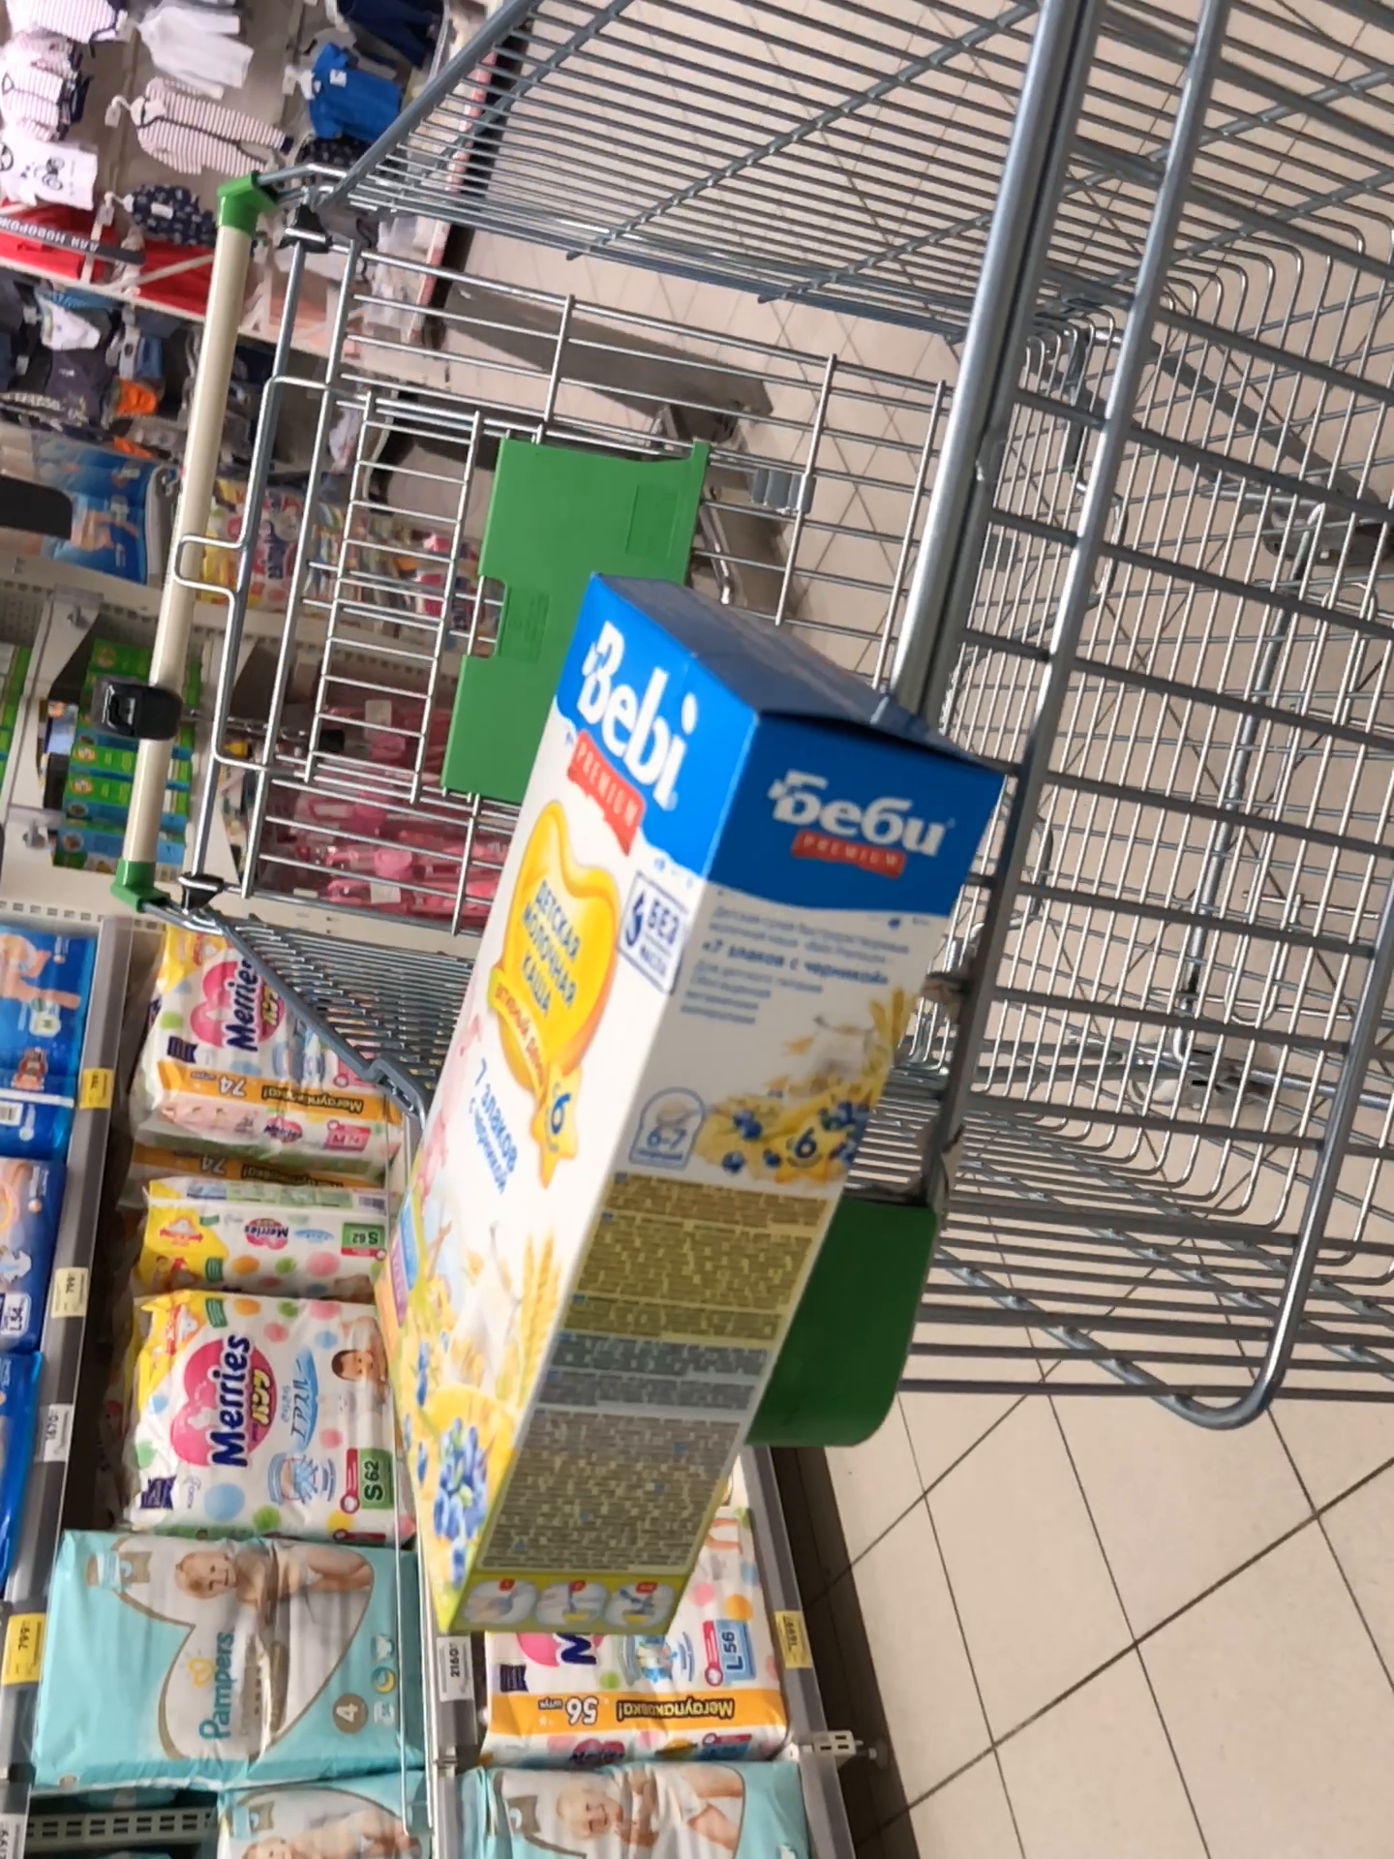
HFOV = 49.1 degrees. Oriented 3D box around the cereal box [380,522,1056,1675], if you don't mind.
[{"bbox_3d":[-0.014,0.030,0.342,0.141,0.050,0.210,-126,51,-61],"label":"cereal box"}]
